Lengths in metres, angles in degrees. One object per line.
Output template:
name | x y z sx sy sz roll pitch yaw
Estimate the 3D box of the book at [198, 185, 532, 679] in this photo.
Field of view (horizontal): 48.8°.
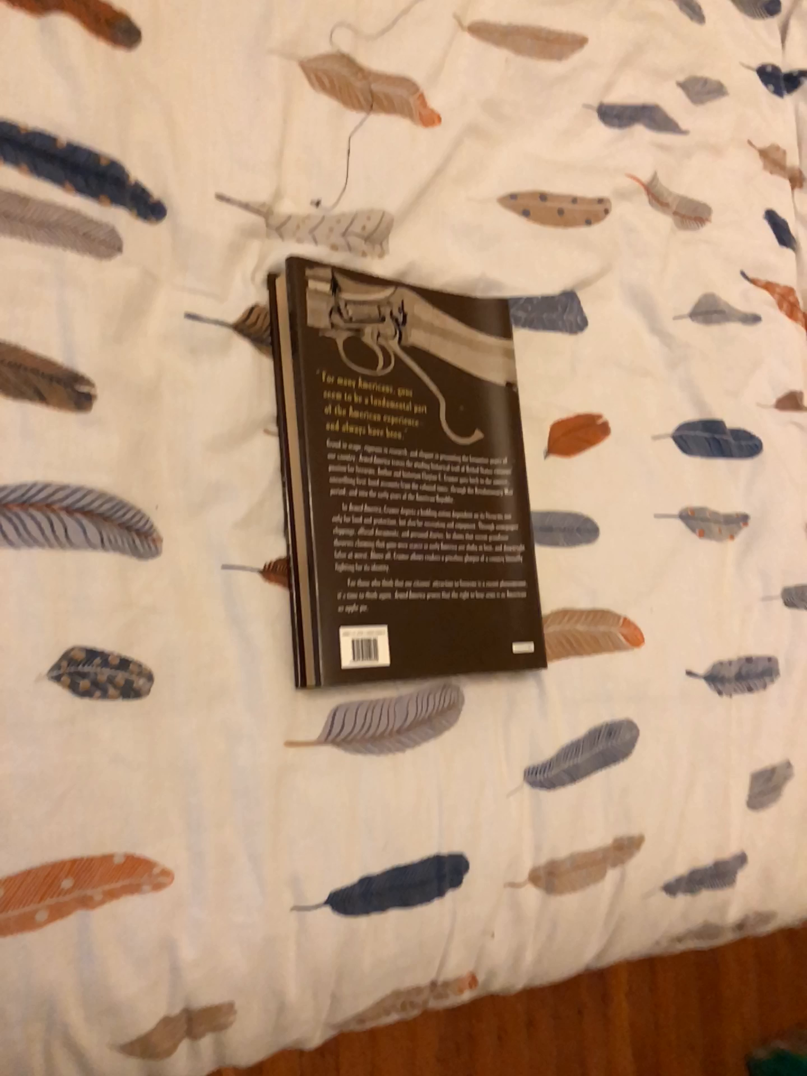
book | -0.017 -0.050 0.484 0.180 0.030 0.240 2 81 -34
